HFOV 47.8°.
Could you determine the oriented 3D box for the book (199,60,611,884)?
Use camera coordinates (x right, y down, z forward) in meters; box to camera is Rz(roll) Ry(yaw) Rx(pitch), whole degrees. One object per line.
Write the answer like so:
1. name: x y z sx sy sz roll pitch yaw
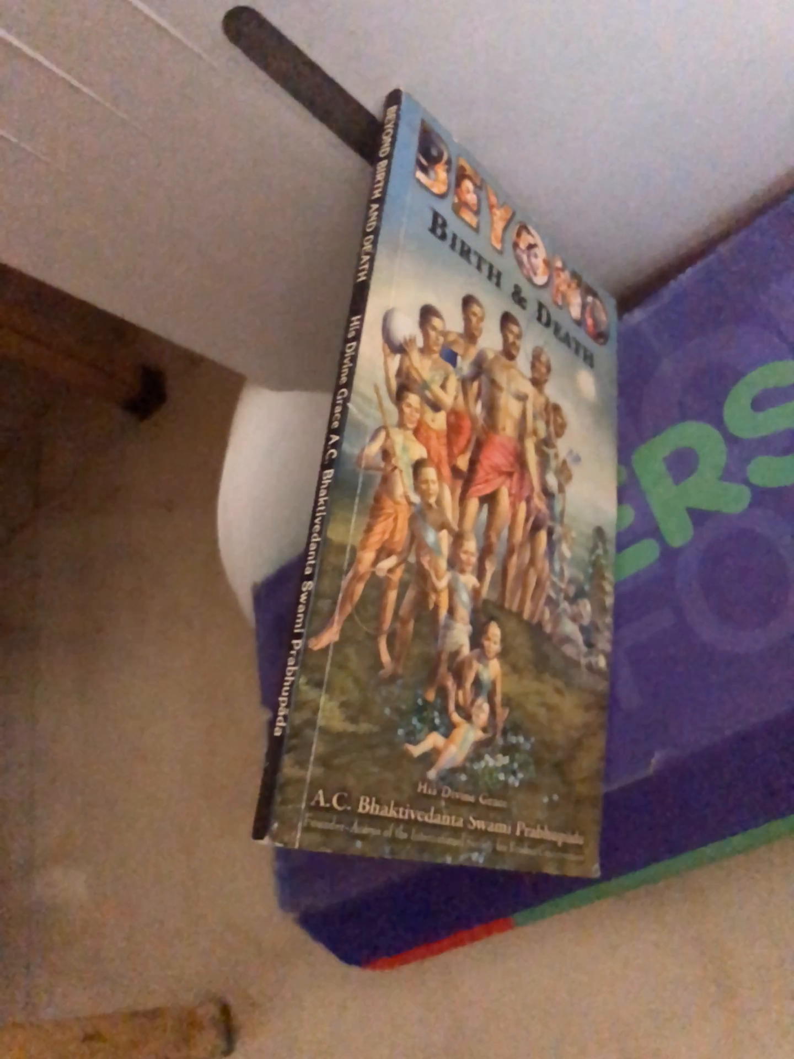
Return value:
1. book: 0.018 -0.011 0.242 0.010 0.120 0.190 -10 63 41
